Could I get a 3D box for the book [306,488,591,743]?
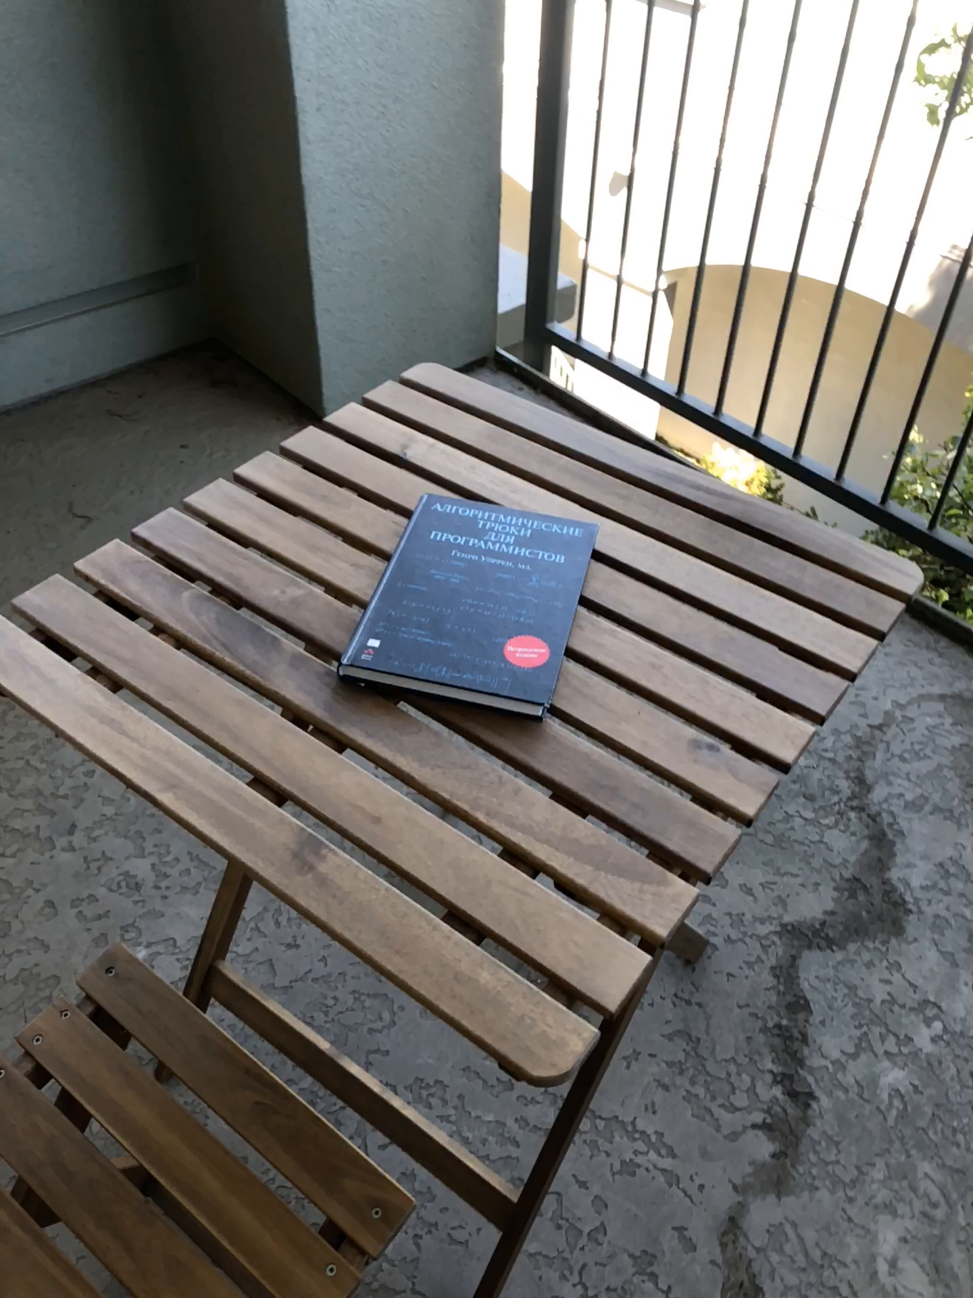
[{"bbox_3d":[-0.022,-0.039,0.913,0.180,0.030,0.251,11,44,9],"label":"book"}]
